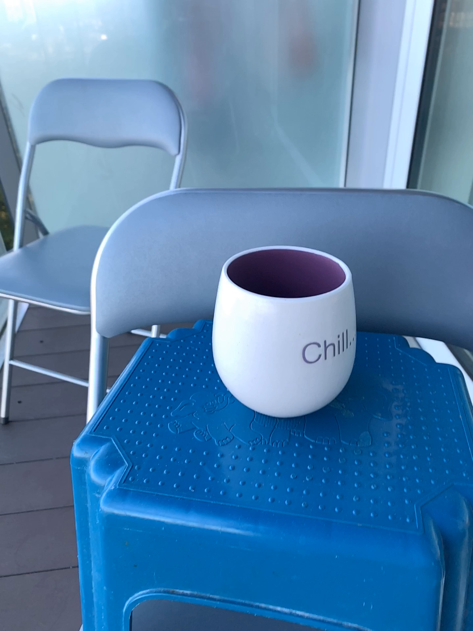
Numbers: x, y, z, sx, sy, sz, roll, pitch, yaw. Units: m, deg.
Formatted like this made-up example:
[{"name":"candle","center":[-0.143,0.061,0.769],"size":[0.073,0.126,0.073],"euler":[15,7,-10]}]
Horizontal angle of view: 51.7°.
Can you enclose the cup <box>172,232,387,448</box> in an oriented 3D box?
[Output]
[{"name":"cup","center":[0.032,0.009,0.363],"size":[0.105,0.090,0.111],"euler":[0,31,0]}]
